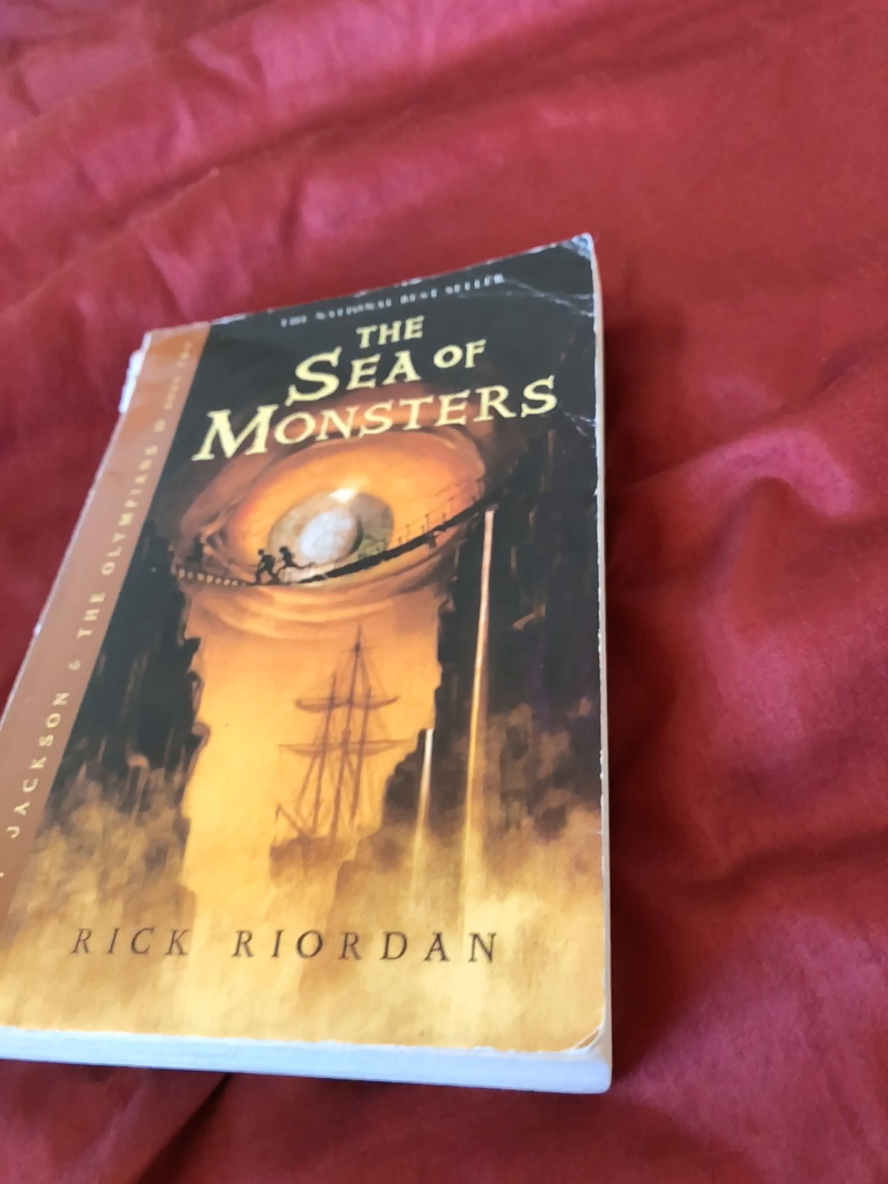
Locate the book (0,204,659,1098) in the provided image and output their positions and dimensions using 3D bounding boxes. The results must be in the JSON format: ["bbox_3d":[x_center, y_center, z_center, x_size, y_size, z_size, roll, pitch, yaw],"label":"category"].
[{"bbox_3d":[-0.029,-0.001,0.227,0.144,0.030,0.197,-5,54,17],"label":"book"}]
